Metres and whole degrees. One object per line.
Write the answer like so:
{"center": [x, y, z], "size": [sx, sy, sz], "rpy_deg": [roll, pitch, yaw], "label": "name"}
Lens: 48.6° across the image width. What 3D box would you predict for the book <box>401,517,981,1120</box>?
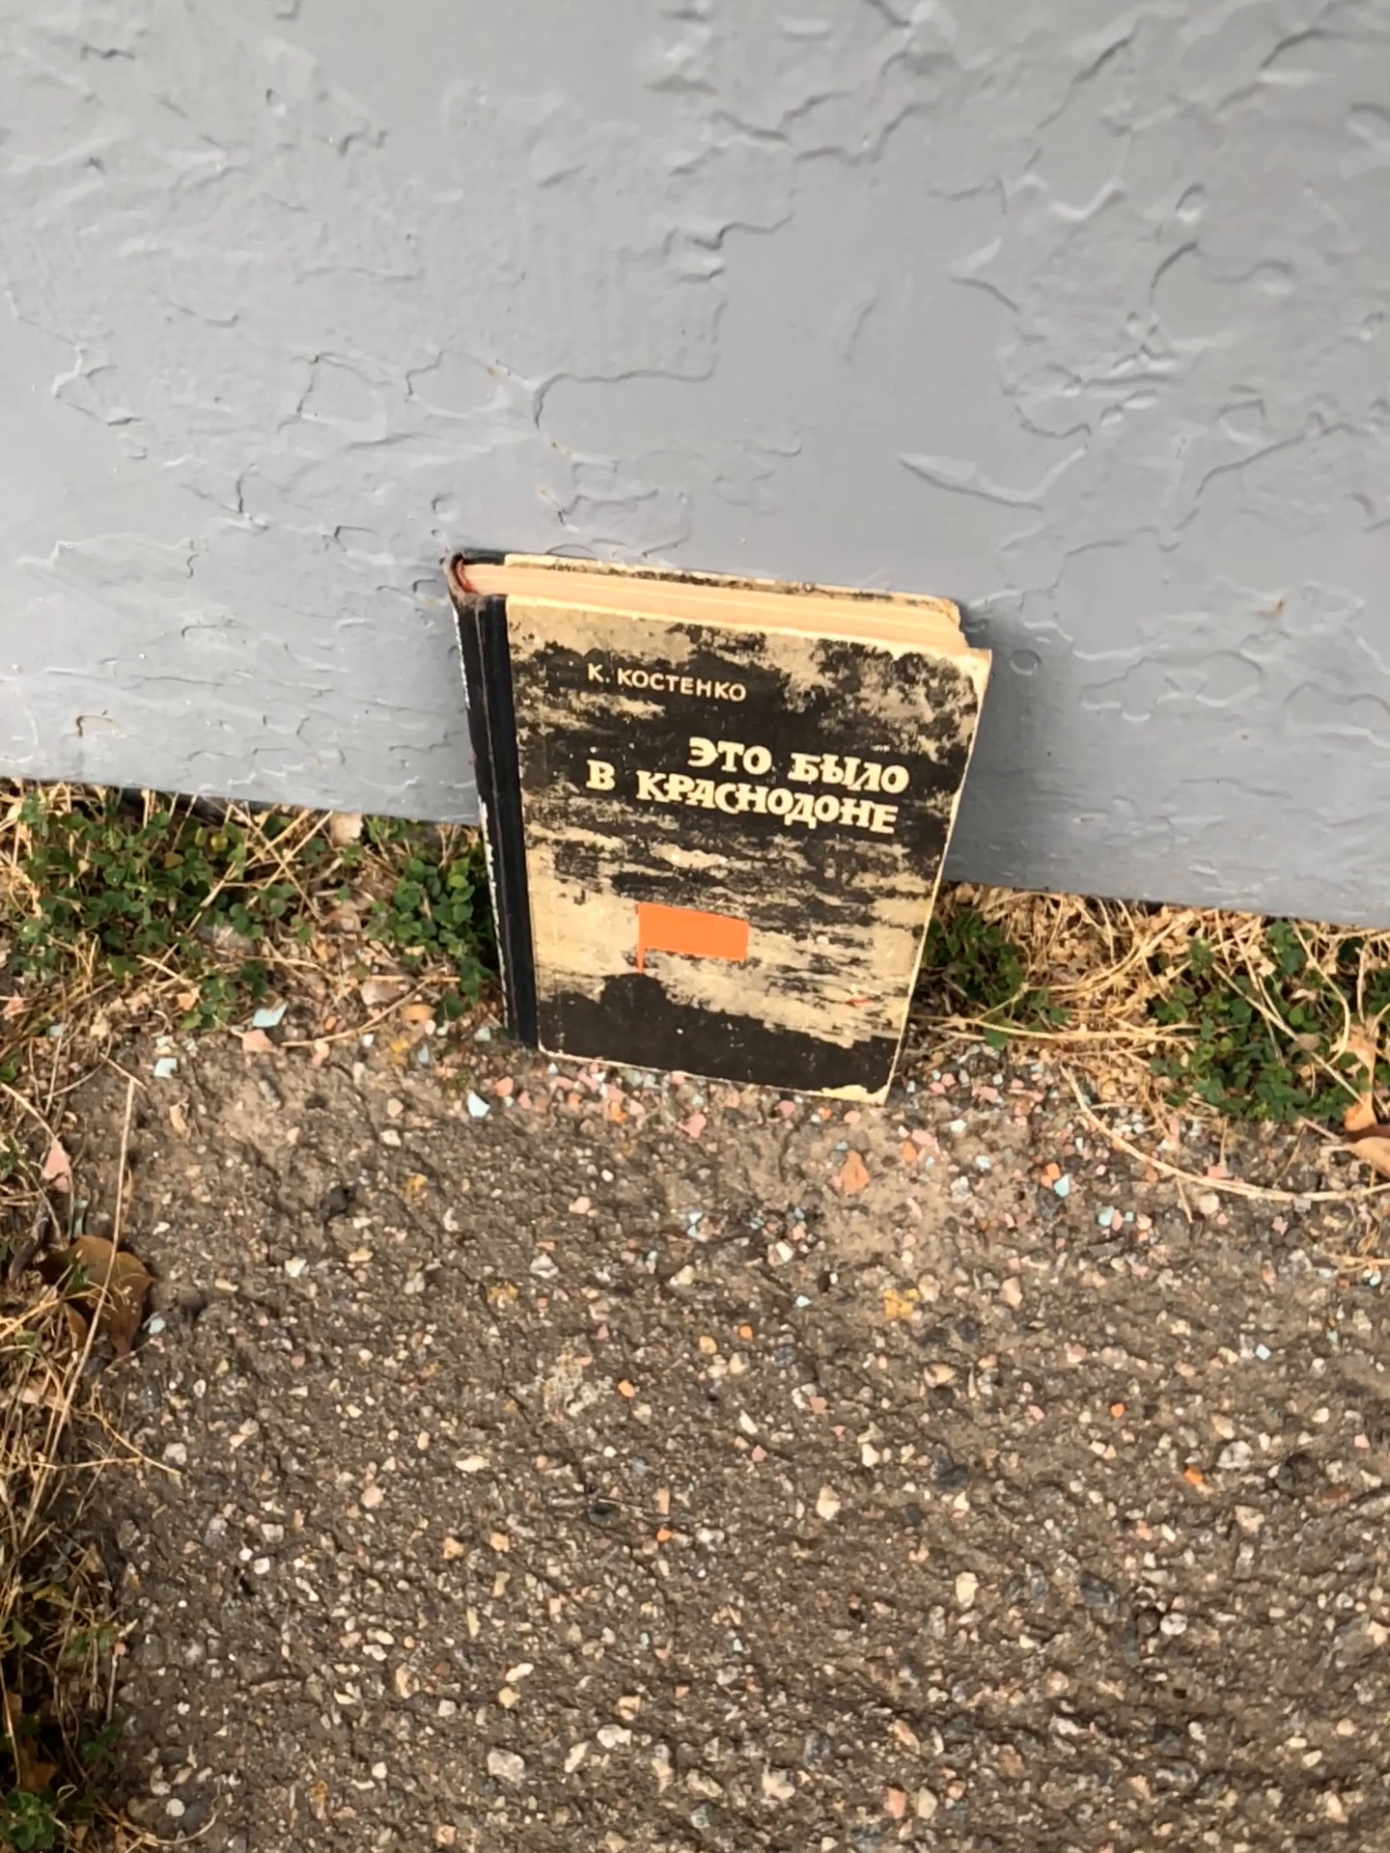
{"center": [-0.002, -0.020, 0.456], "size": [0.140, 0.199, 0.030], "rpy_deg": [8, 50, 6], "label": "book"}
